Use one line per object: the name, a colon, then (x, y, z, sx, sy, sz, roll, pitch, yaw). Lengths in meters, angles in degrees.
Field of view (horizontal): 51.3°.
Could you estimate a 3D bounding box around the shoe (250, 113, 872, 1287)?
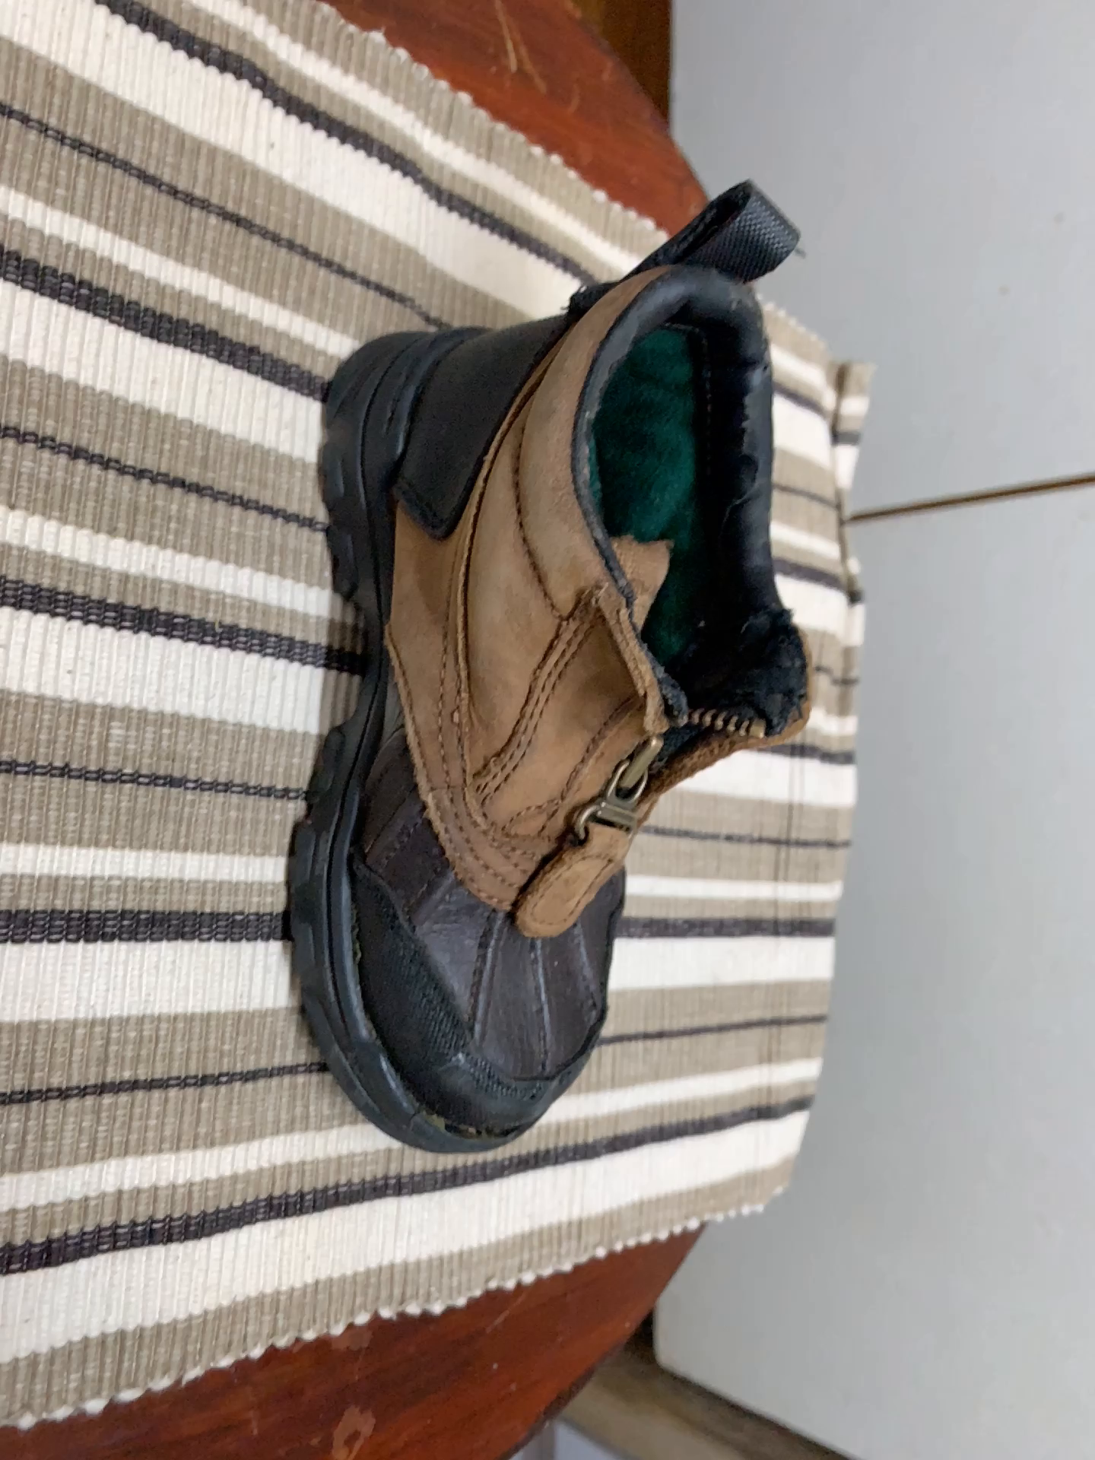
shoe: (0.003, -0.004, 0.234, 0.080, 0.089, 0.180, 6, 85, -45)
